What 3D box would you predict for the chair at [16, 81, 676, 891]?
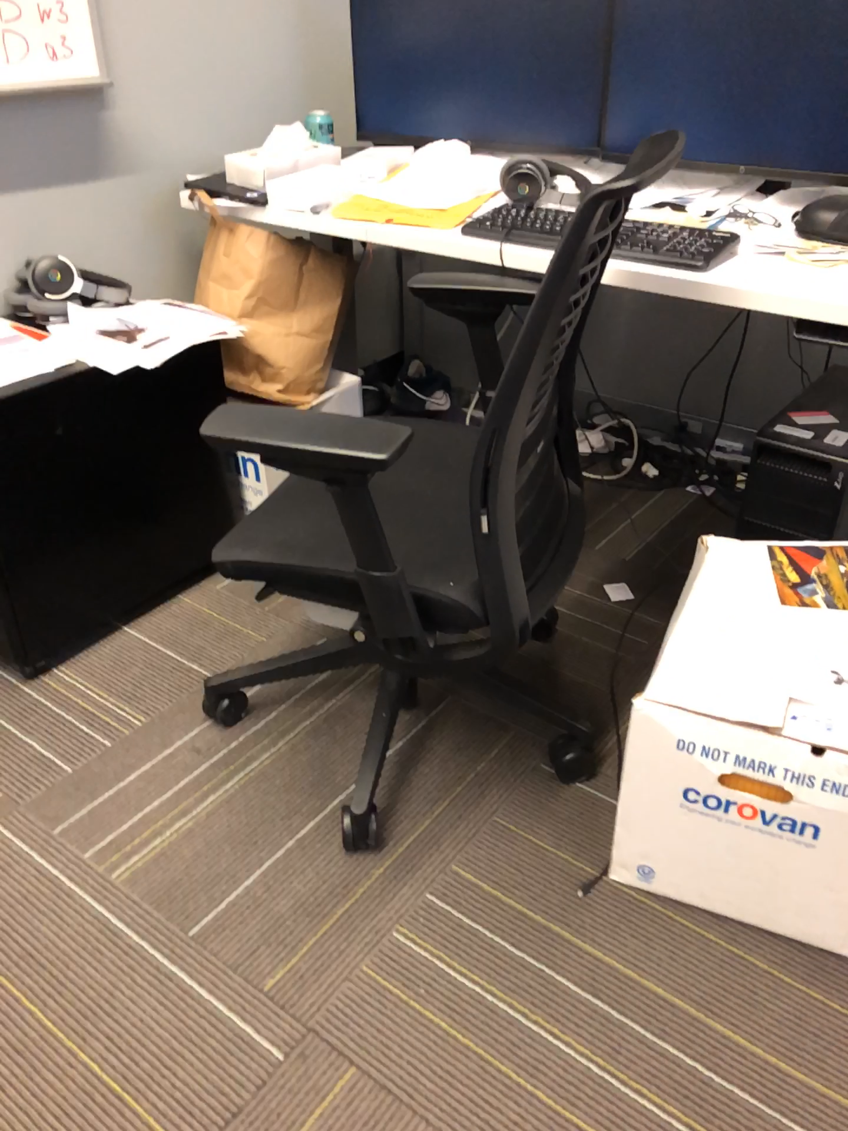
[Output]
[{"bbox_3d":[-0.023,-0.165,1.381,0.610,0.935,0.674,9,33,14],"label":"chair"}]
